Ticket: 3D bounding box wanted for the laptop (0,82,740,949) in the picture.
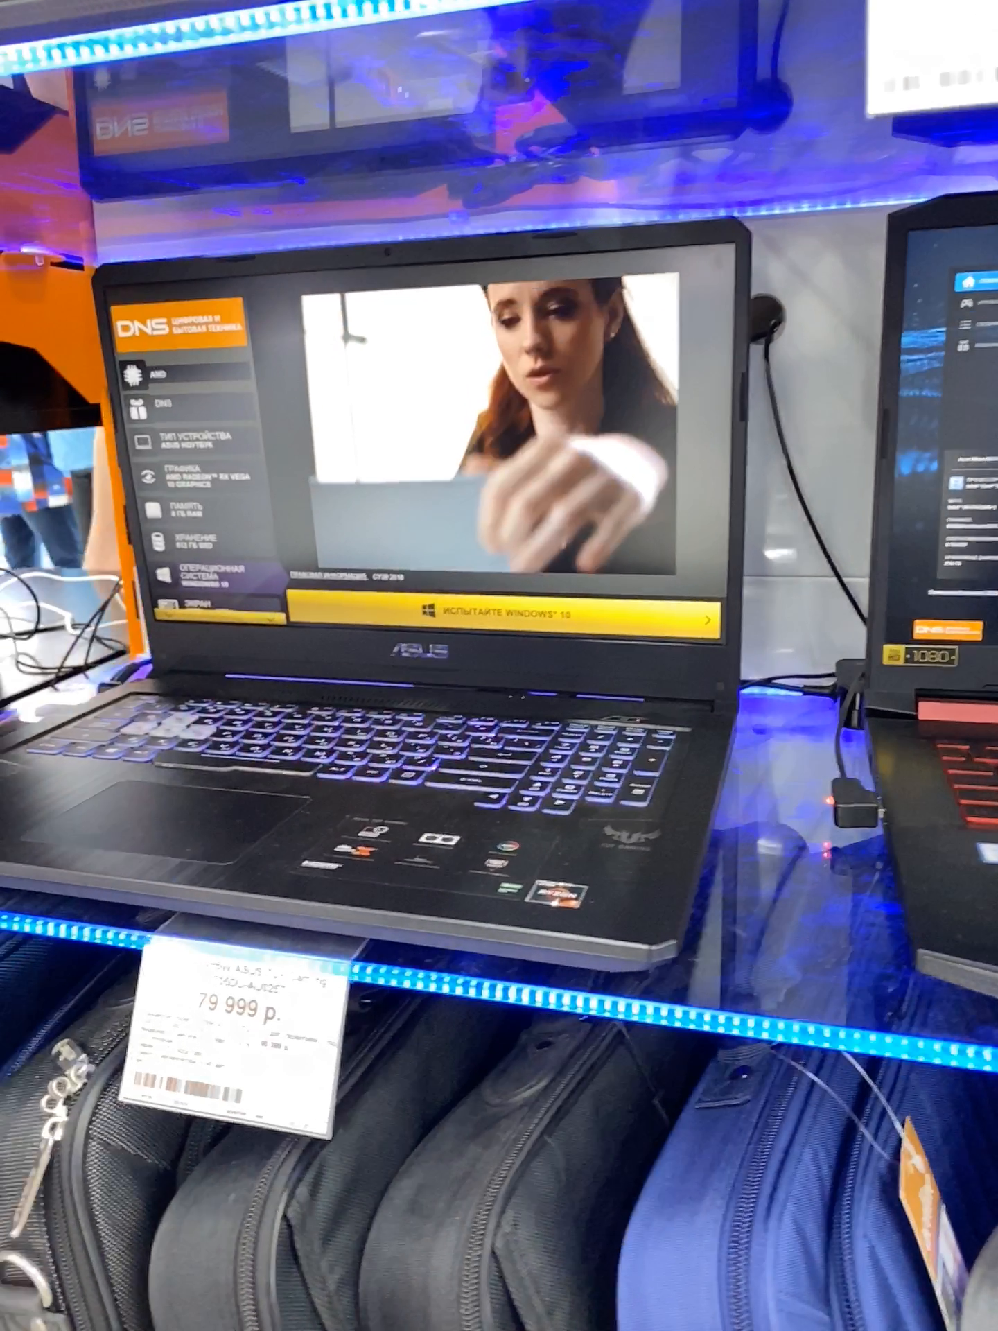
[{"bbox_3d":[-0.097,-0.076,0.497,0.397,0.265,0.269,3,15,17],"label":"laptop"}]
